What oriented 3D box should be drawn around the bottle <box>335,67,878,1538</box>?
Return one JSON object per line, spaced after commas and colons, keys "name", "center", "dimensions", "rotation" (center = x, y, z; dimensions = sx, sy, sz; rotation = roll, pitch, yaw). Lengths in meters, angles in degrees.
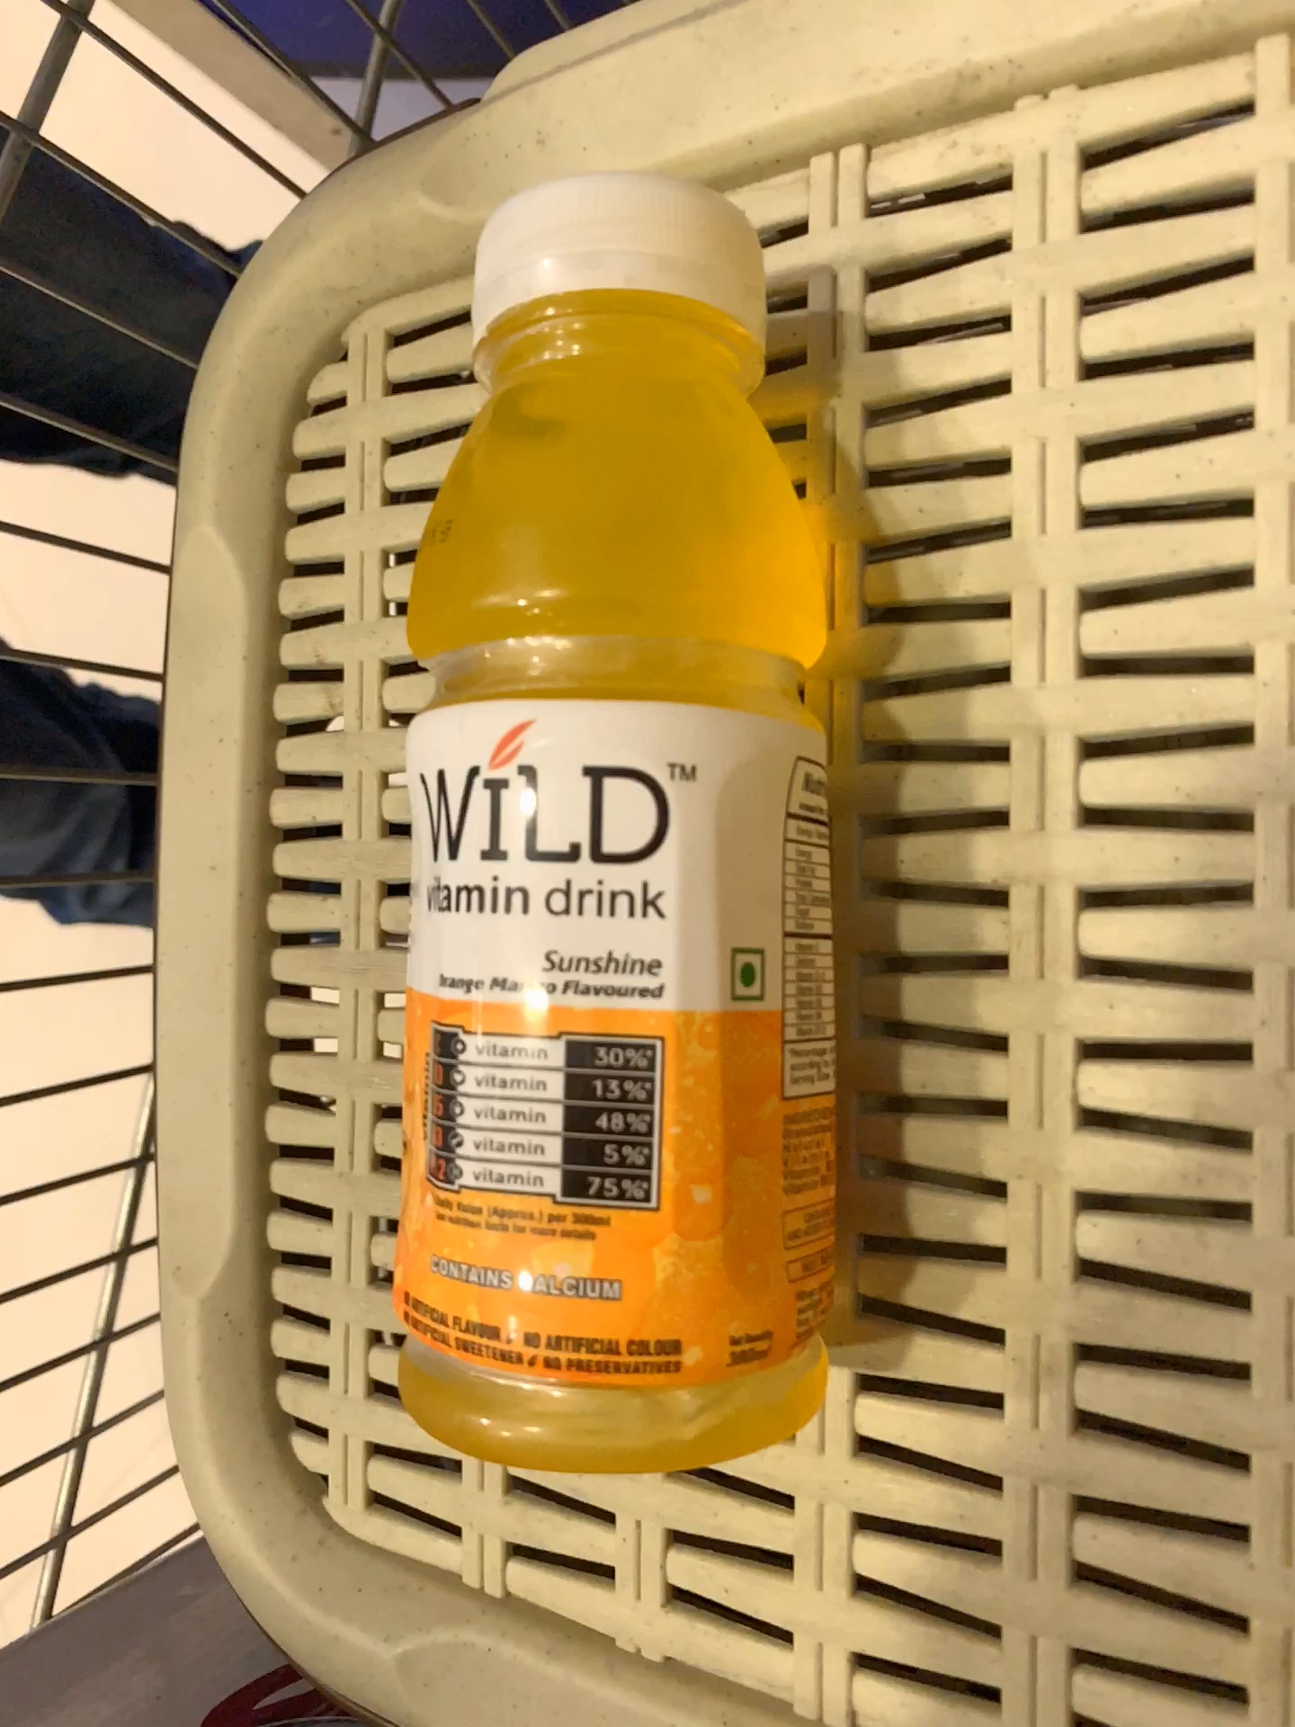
{"name": "bottle", "center": [-0.002, -0.007, 0.193], "dimensions": [0.060, 0.060, 0.170], "rotation": [0, 89, 18]}
